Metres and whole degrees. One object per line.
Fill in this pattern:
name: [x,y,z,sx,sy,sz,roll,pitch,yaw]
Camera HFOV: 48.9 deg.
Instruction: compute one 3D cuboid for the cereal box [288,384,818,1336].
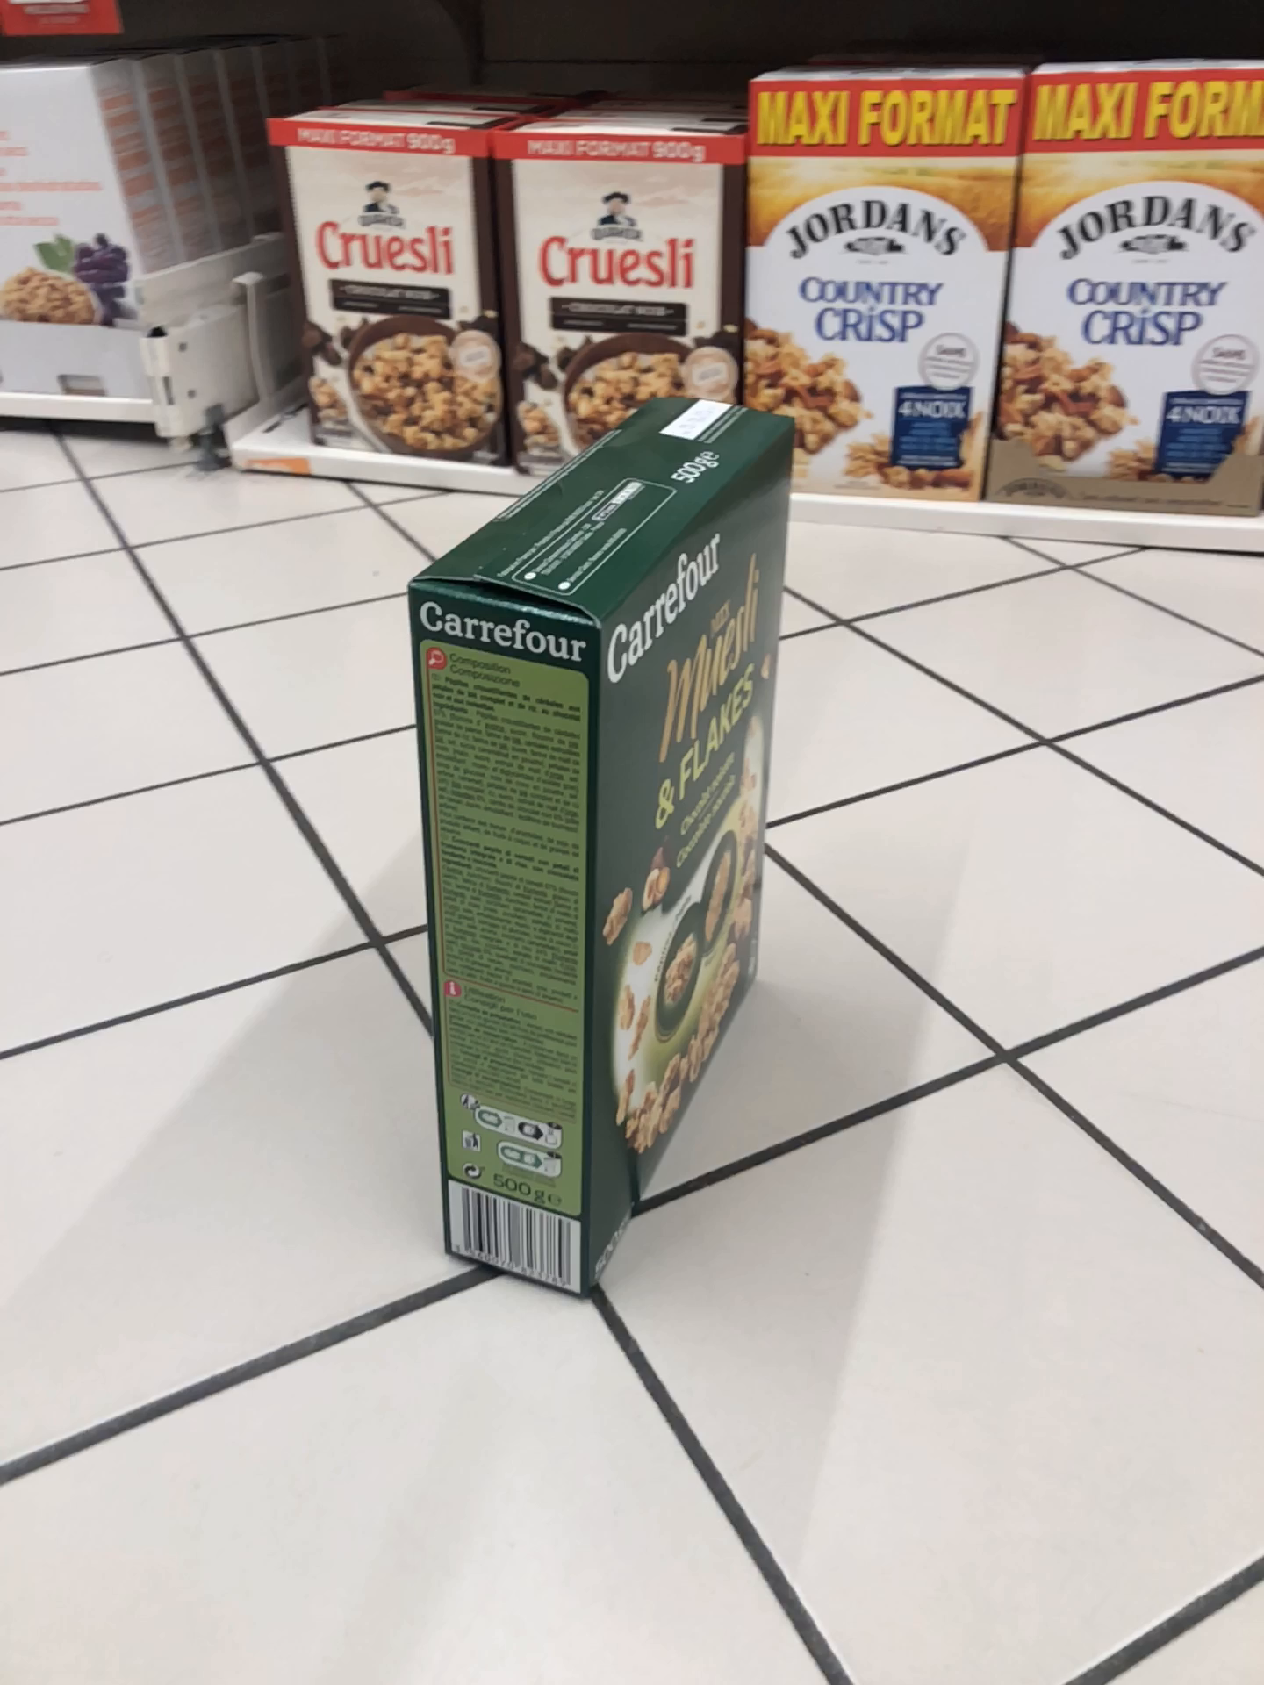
cereal box: [-0.013,-0.003,0.478,0.080,0.248,0.201,13,34,18]
